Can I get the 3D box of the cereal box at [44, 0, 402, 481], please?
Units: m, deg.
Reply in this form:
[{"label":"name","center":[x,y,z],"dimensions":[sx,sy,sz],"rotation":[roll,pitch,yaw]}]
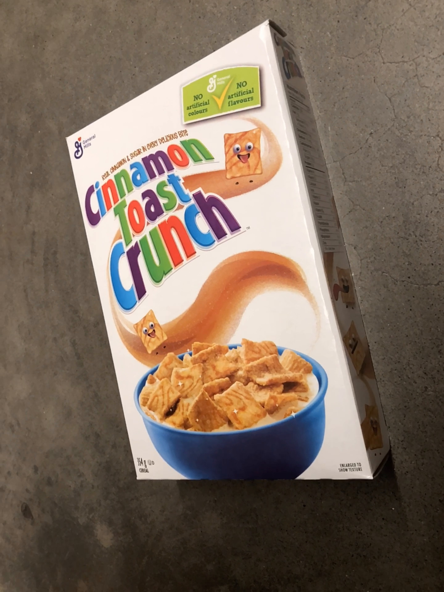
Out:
[{"label":"cereal box","center":[-0.012,-0.019,0.359],"dimensions":[0.201,0.060,0.290],"rotation":[-15,89,34]}]
